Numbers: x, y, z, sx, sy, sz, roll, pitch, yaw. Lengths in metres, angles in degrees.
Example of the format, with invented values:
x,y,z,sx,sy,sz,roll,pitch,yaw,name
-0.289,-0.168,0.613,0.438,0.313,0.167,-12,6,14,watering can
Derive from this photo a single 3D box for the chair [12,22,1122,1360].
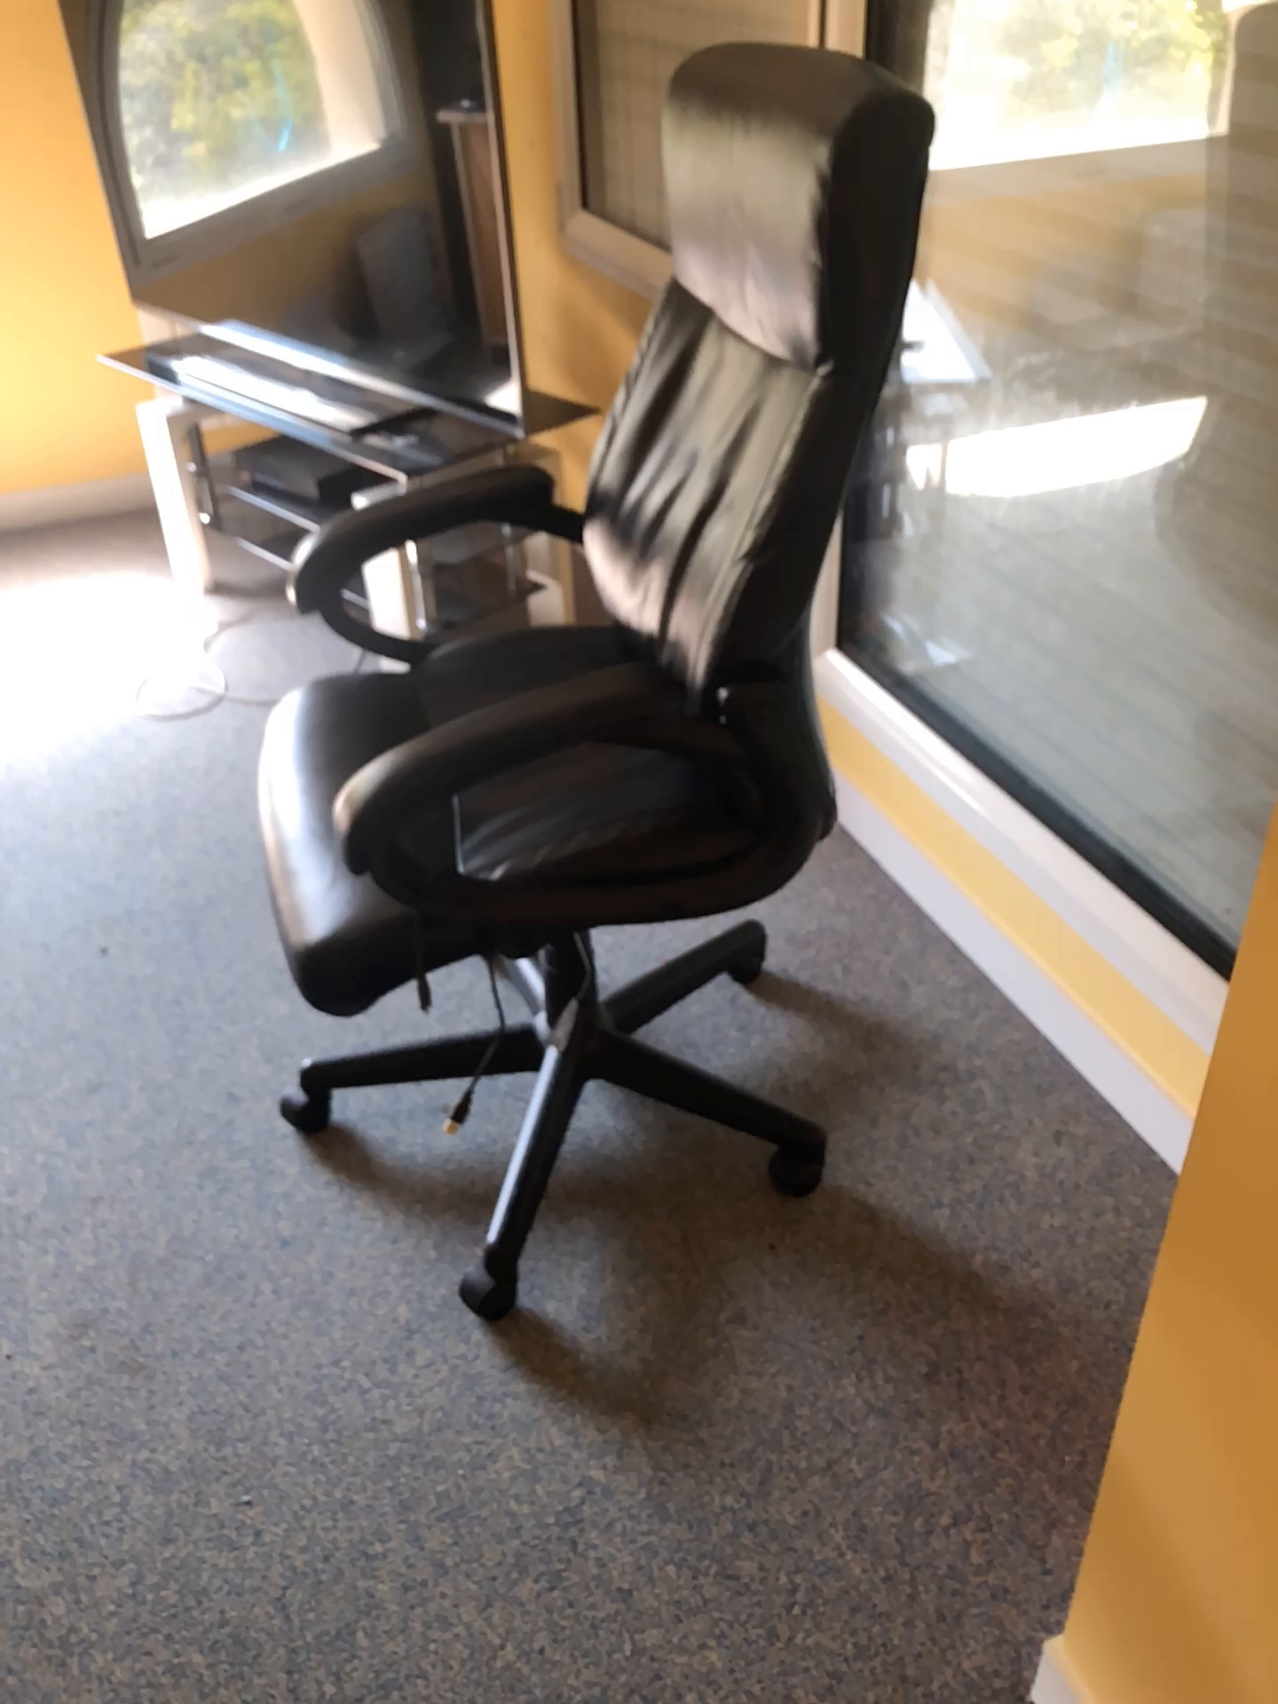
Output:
x,y,z,sx,sy,sz,roll,pitch,yaw,name
-0.096,-0.190,1.489,0.751,1.113,0.663,-12,36,-14,chair
